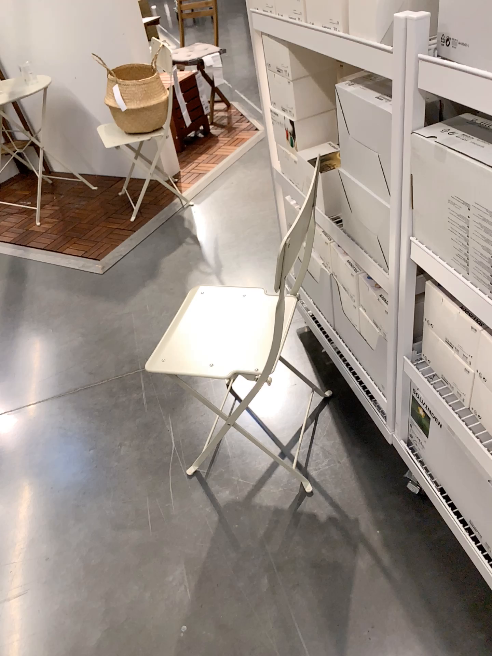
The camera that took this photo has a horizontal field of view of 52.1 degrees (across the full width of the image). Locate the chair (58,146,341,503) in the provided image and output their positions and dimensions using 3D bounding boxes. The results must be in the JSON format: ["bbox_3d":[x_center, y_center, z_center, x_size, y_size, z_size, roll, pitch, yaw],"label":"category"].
[{"bbox_3d":[-0.029,0.007,1.315,0.458,0.783,0.439,4,41,19],"label":"chair"}]
